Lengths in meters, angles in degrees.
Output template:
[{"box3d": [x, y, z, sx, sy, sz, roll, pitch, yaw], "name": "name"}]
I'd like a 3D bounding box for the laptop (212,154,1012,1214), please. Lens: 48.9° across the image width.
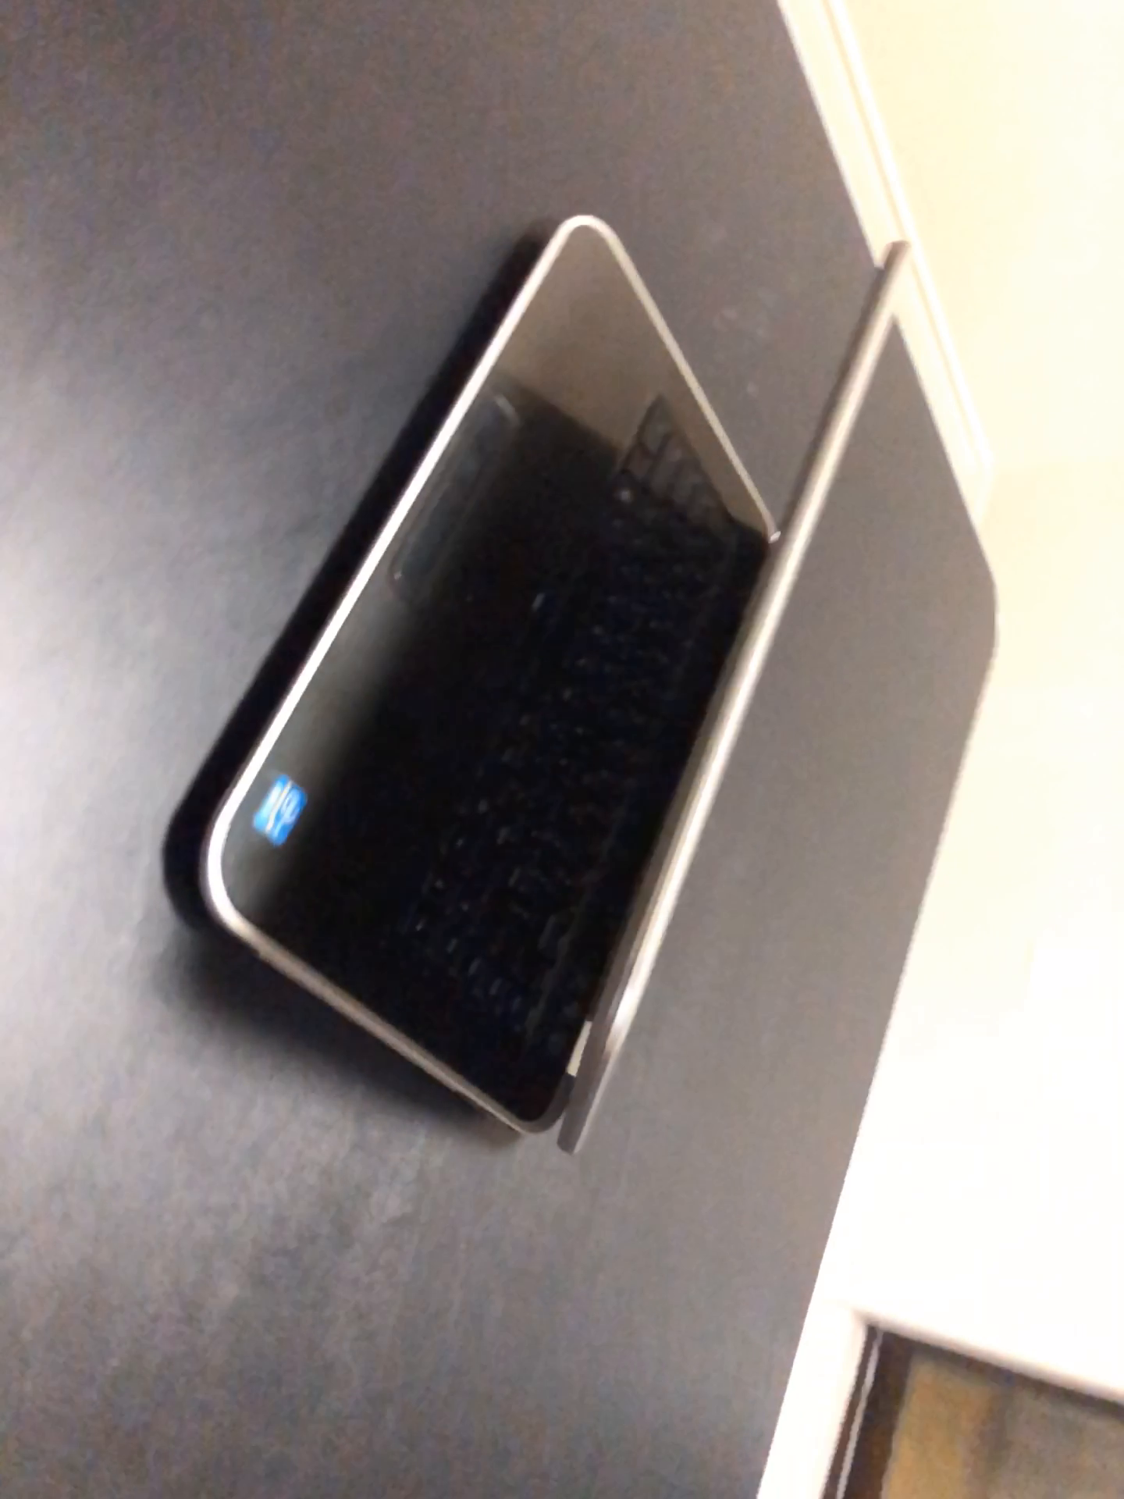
[{"box3d": [0.060, -0.026, 0.538, 0.240, 0.137, 0.356, 50, 54, -42], "name": "laptop"}]
